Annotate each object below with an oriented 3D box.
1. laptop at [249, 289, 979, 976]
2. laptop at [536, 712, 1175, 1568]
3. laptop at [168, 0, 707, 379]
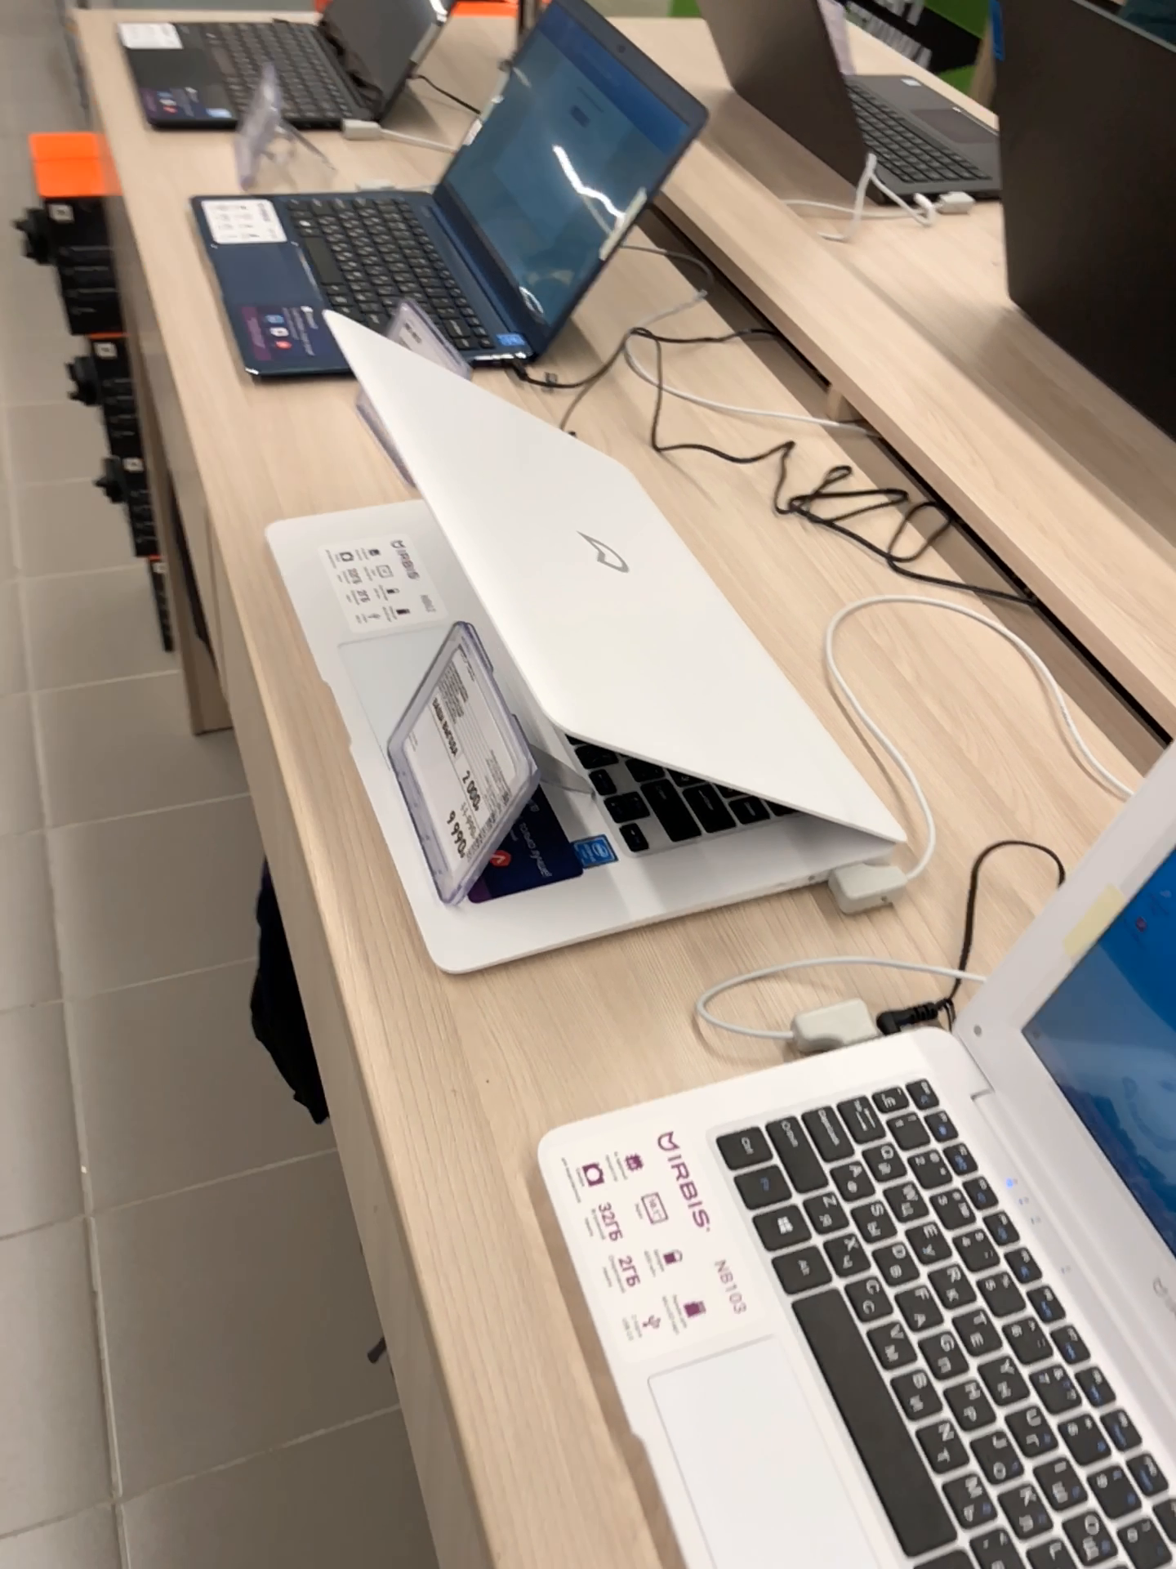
[{"bbox_3d":[-0.016,-0.104,0.640,0.223,0.115,0.351,-13,47,-17],"label":"laptop"},{"bbox_3d":[0.140,0.139,0.367,0.230,0.168,0.264,-9,44,-16],"label":"laptop"},{"bbox_3d":[-0.126,-0.473,0.983,0.319,0.162,0.311,-11,47,-18],"label":"laptop"}]
